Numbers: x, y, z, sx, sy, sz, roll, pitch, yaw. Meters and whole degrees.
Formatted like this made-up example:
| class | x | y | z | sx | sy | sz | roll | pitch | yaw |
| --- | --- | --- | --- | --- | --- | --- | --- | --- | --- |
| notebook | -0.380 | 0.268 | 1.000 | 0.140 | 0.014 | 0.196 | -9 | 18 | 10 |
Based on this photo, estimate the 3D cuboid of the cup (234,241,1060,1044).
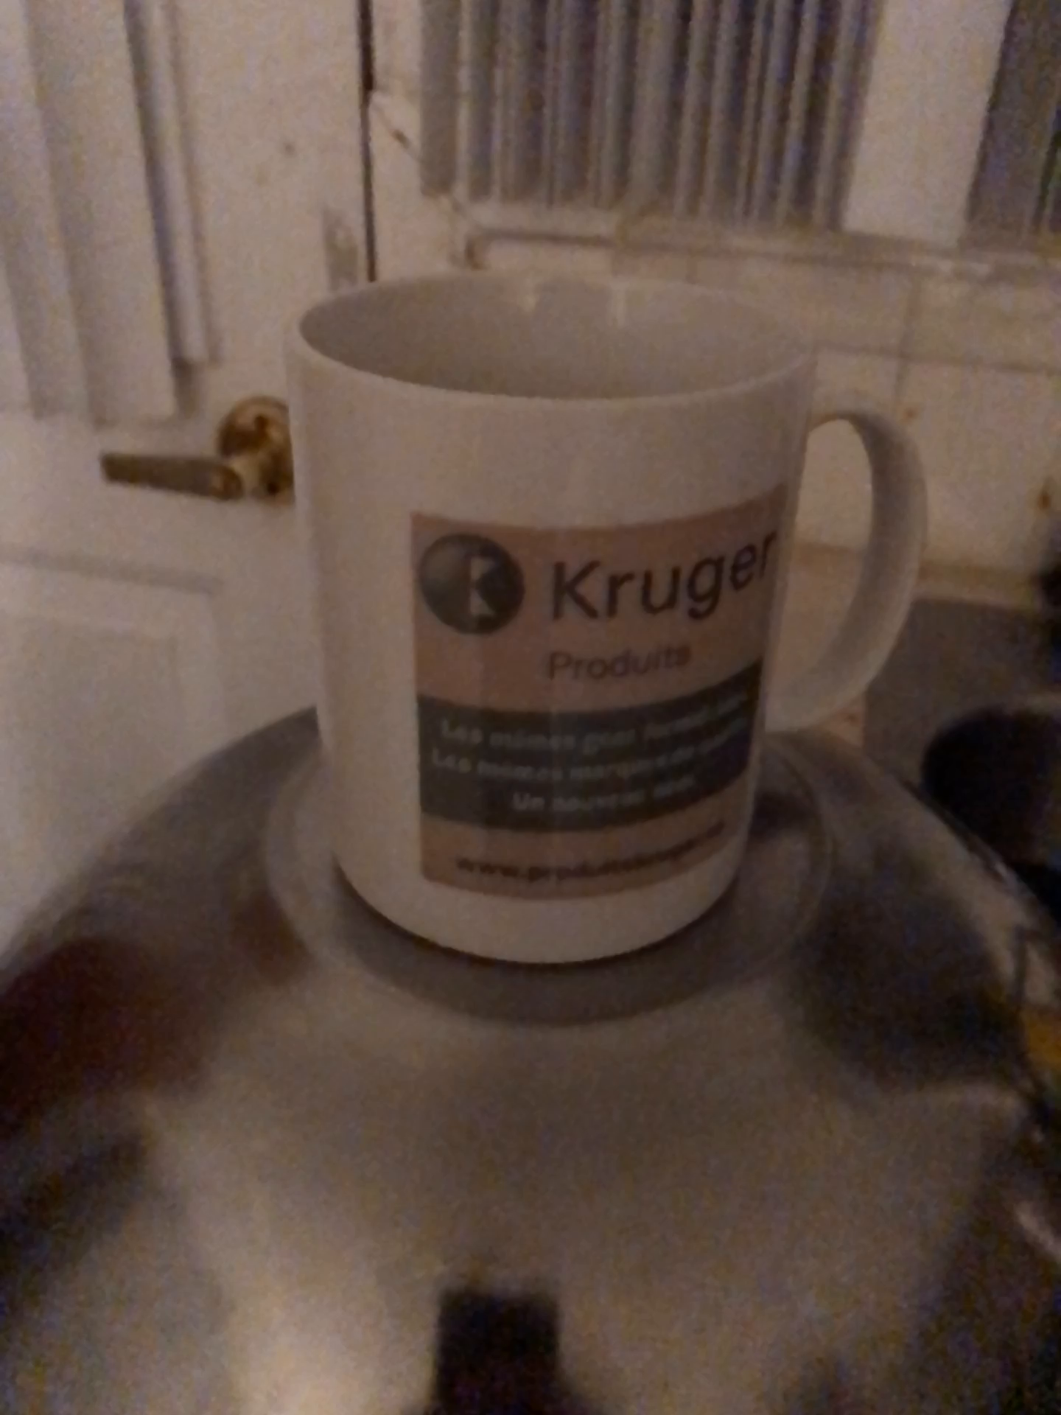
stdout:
| class | x | y | z | sx | sy | sz | roll | pitch | yaw |
| --- | --- | --- | --- | --- | --- | --- | --- | --- | --- |
| cup | 0.014 | -0.020 | 0.224 | 0.120 | 0.109 | 0.091 | -7 | 32 | -14 |
